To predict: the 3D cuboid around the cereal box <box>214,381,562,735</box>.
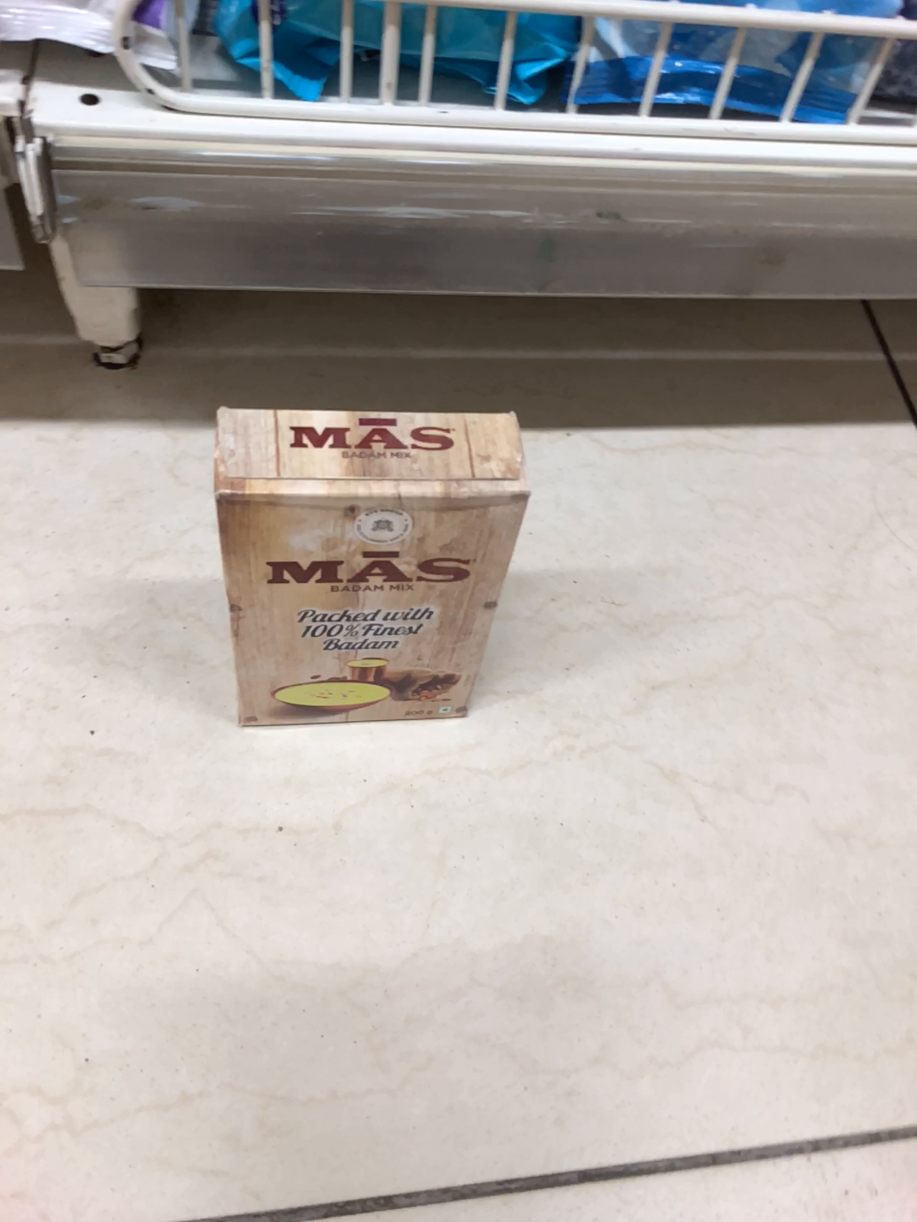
[{"bbox_3d":[-0.027,-0.010,0.325,0.090,0.129,0.040,-1,55,-10],"label":"cereal box"}]
